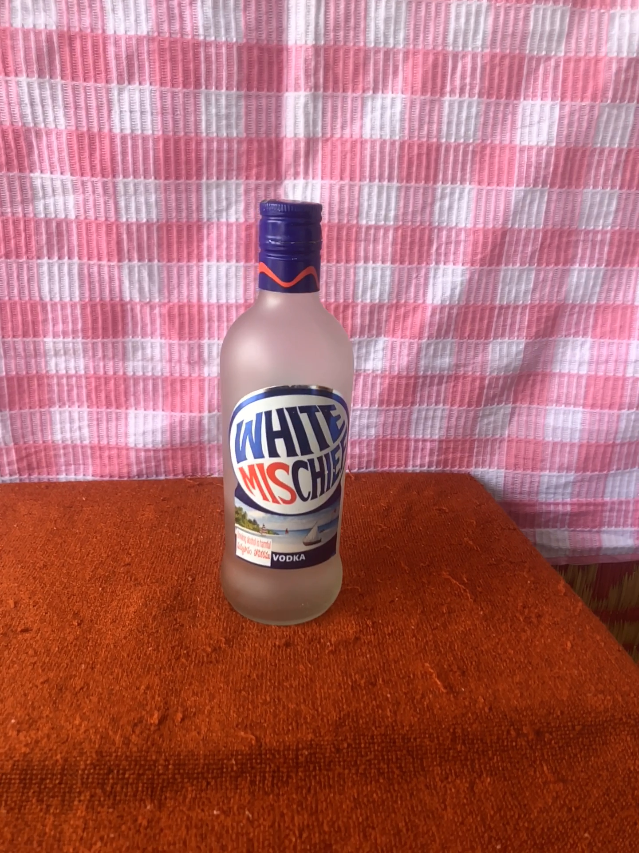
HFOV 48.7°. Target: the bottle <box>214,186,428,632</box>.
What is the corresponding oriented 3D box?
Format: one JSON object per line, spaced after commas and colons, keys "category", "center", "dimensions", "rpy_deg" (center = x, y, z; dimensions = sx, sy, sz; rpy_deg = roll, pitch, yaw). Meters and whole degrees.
{"category": "bottle", "center": [-0.009, -0.006, 0.341], "dimensions": [0.080, 0.199, 0.070], "rpy_deg": [1, 22, -9]}
